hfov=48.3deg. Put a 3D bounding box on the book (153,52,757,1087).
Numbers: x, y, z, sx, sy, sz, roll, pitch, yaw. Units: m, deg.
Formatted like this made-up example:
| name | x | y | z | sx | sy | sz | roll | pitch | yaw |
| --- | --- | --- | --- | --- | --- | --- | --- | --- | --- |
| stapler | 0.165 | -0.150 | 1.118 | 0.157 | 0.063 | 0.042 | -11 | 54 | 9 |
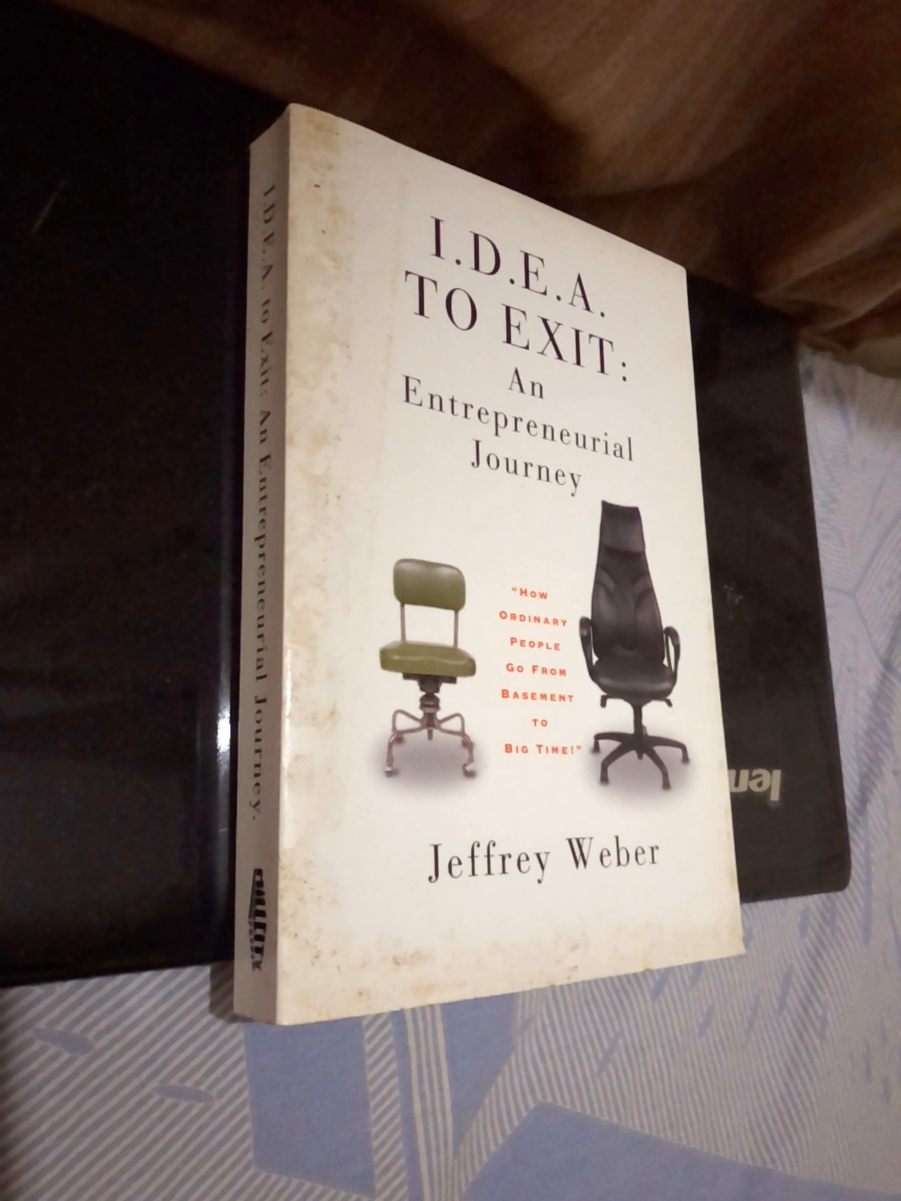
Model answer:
| name | x | y | z | sx | sy | sz | roll | pitch | yaw |
| --- | --- | --- | --- | --- | --- | --- | --- | --- | --- |
| book | 0.007 | -0.010 | 0.279 | 0.161 | 0.030 | 0.240 | 9 | 70 | -35 |
